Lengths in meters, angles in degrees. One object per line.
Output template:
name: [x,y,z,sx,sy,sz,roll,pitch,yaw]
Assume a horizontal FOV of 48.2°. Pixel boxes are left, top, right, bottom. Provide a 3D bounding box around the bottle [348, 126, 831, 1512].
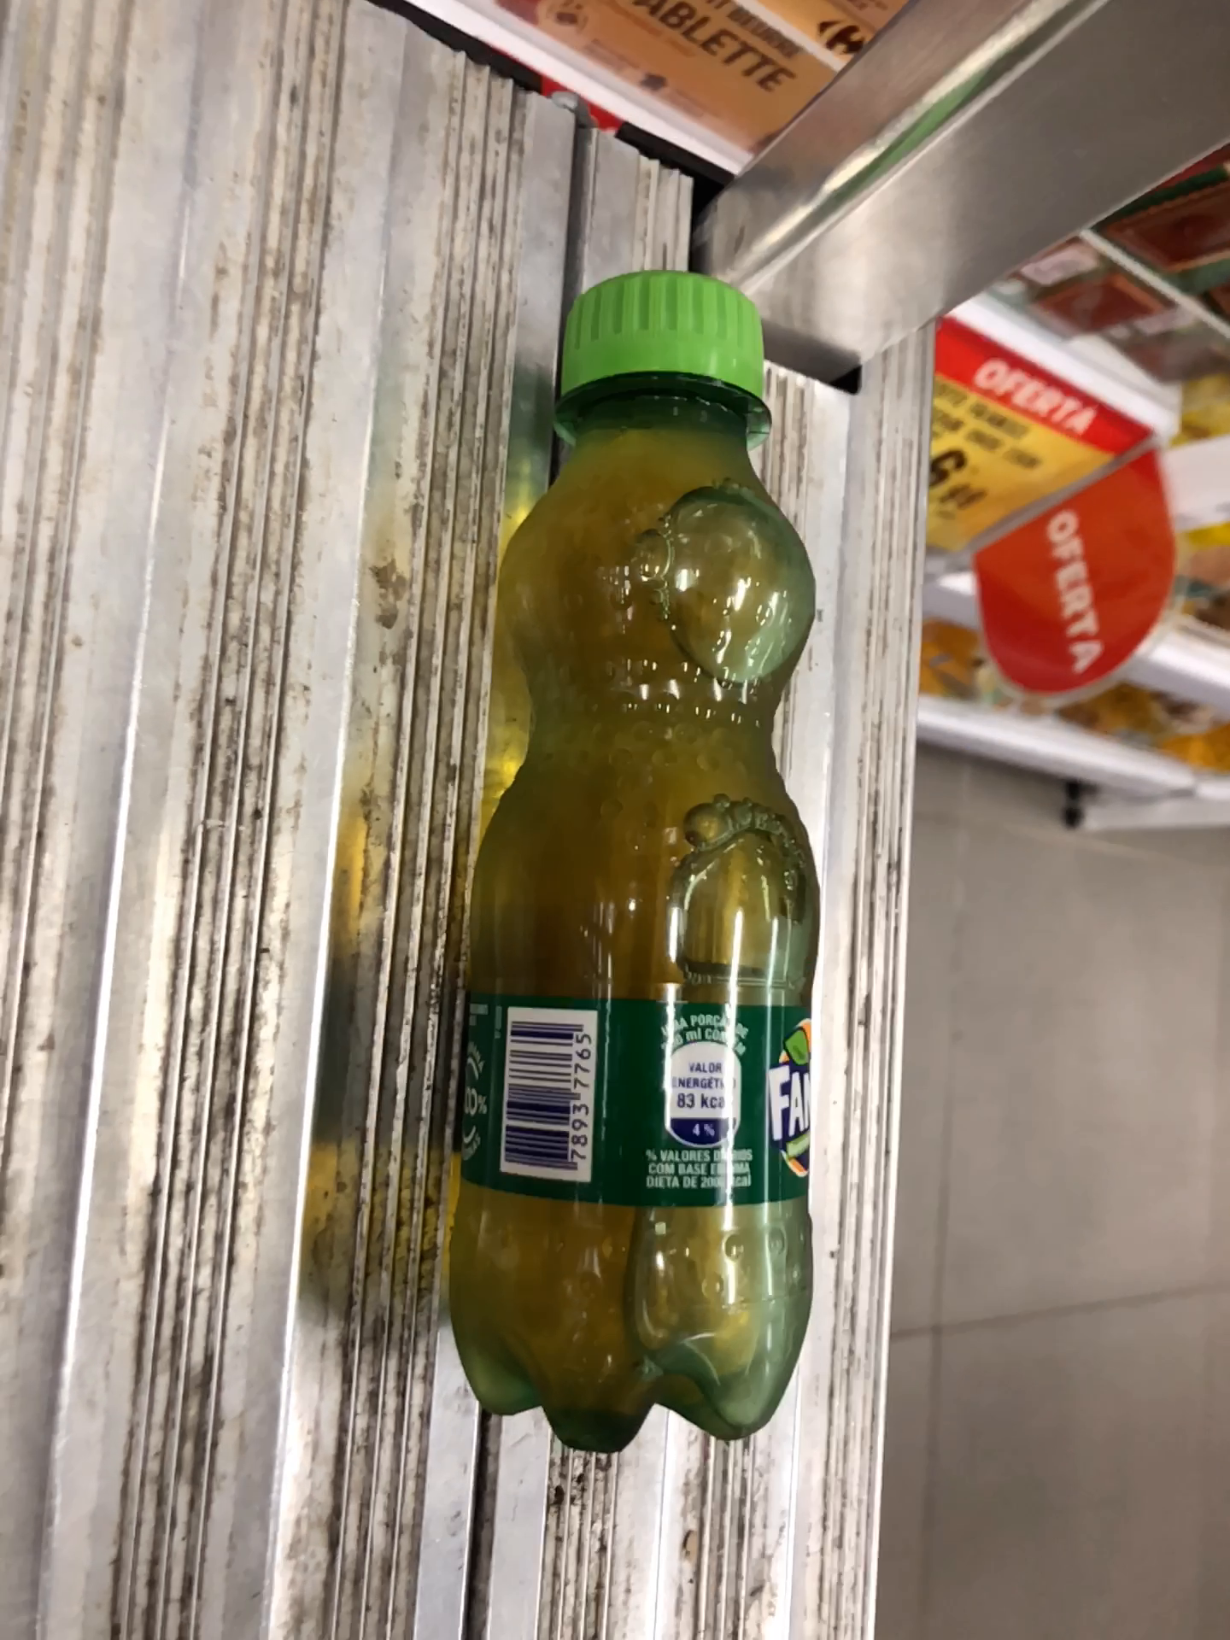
bottle: [0.002,-0.003,0.194,0.050,0.050,0.170,50,43,-79]
